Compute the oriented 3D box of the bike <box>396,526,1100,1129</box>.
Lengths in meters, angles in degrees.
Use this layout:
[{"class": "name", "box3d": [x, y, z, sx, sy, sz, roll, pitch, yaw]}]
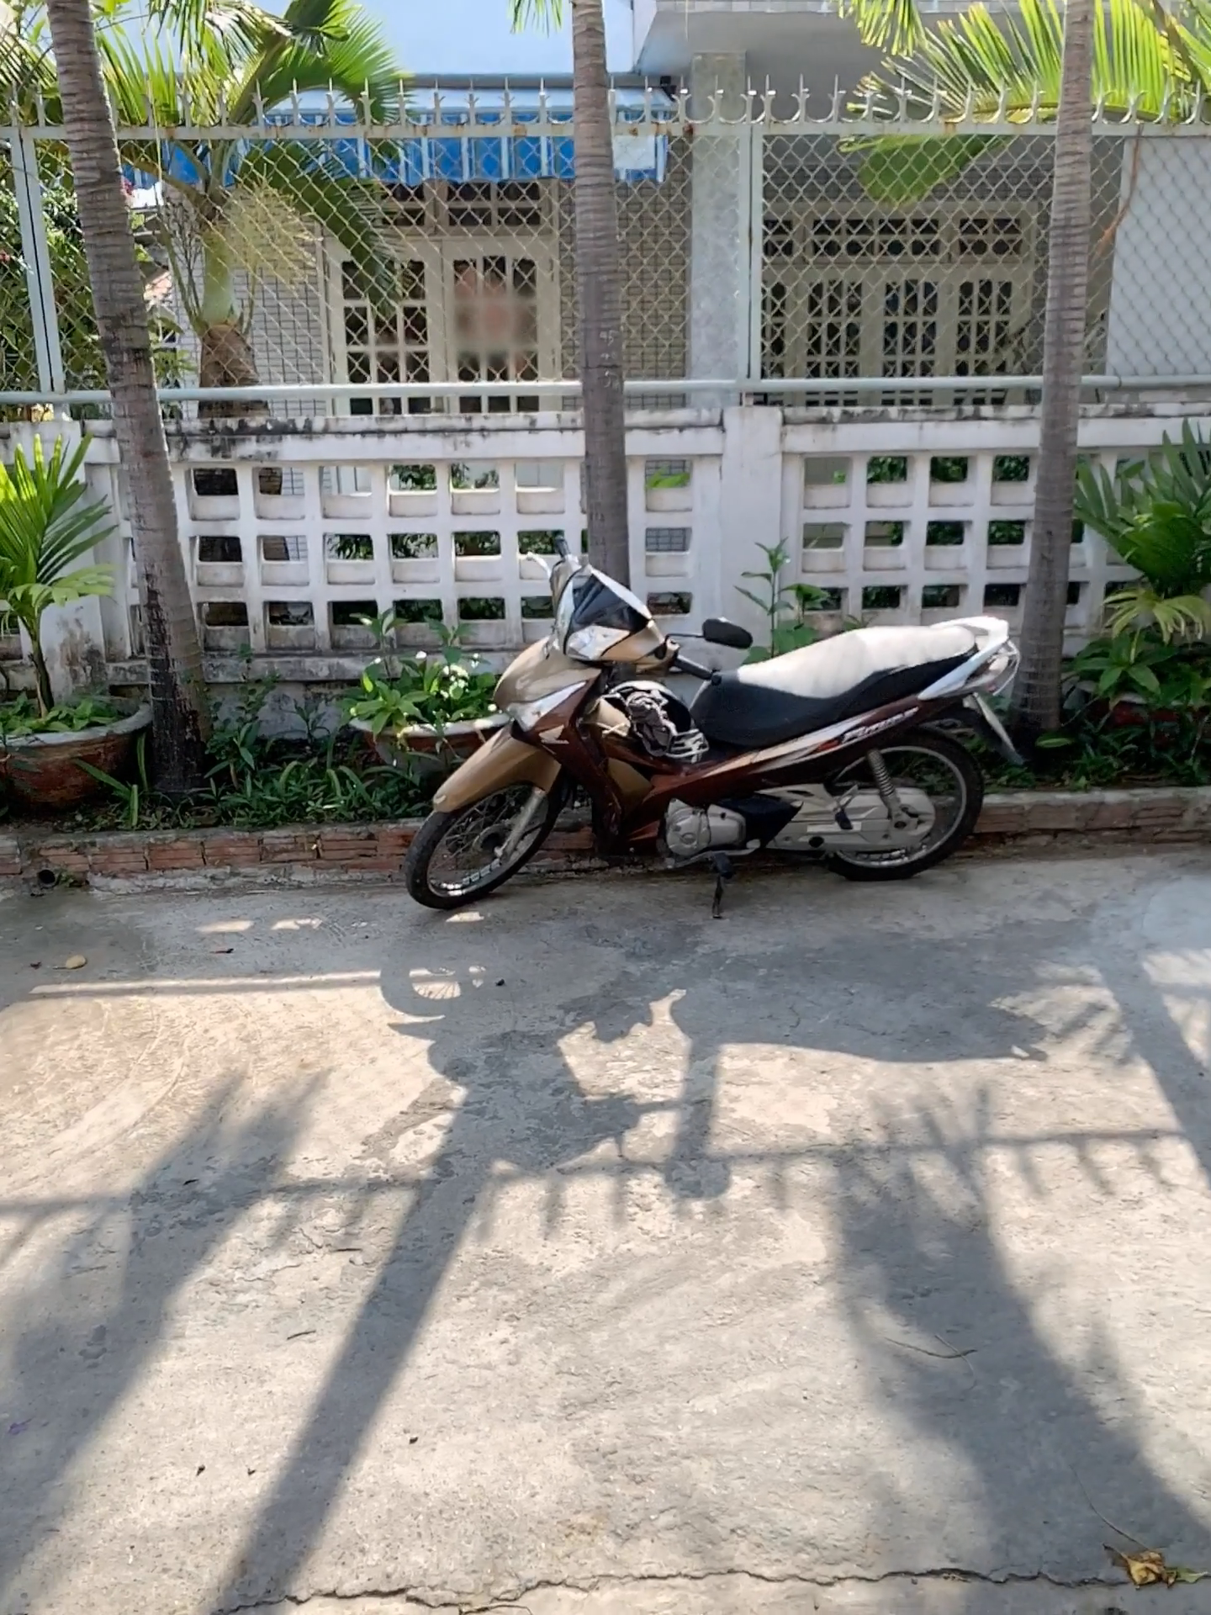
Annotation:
[{"class": "bike", "box3d": [0.406, -0.035, 3.686, 1.975, 1.443, 0.614, -6, 16, -16]}]
